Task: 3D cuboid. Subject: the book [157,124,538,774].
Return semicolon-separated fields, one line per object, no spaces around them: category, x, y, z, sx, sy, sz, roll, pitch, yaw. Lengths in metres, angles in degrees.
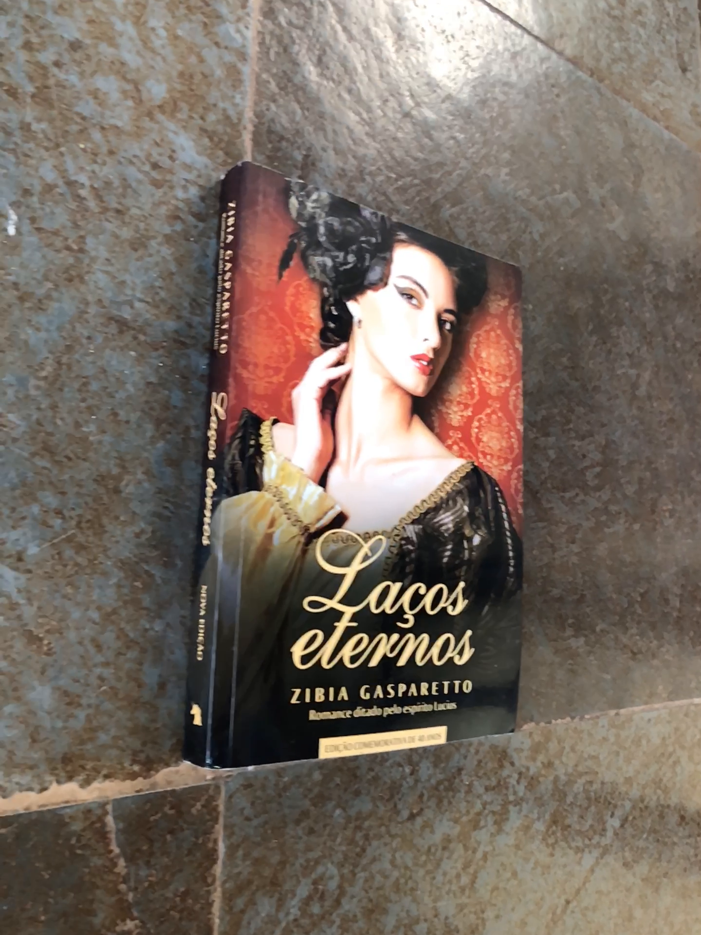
book;0.010;-0.002;0.298;0.154;0.027;0.204;9;78;-38
